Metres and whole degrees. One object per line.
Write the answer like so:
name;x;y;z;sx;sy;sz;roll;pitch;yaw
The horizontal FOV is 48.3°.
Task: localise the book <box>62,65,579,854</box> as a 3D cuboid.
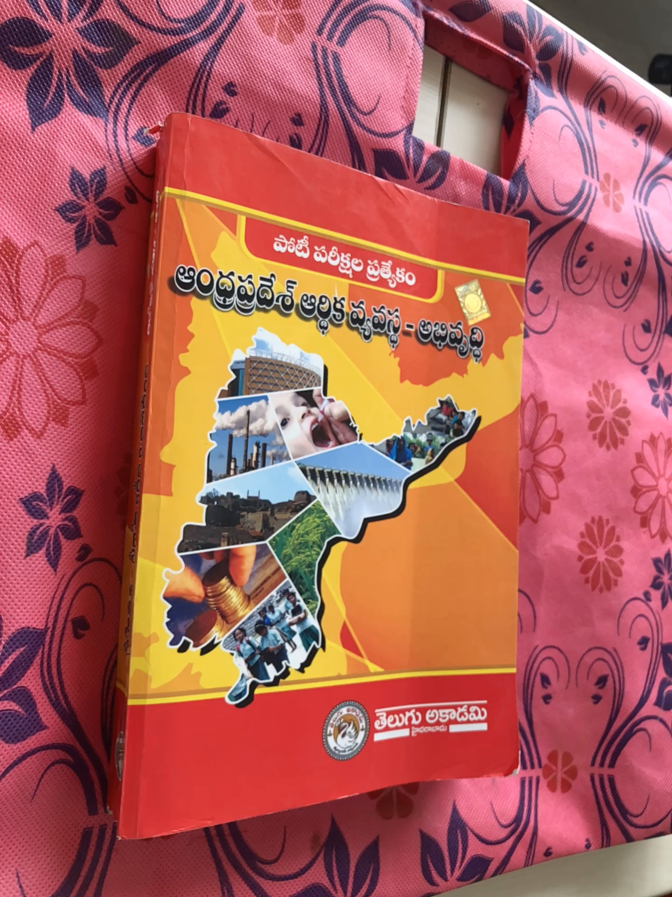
book;0.005;0.010;0.326;0.201;0.060;0.260;7;87;-33
